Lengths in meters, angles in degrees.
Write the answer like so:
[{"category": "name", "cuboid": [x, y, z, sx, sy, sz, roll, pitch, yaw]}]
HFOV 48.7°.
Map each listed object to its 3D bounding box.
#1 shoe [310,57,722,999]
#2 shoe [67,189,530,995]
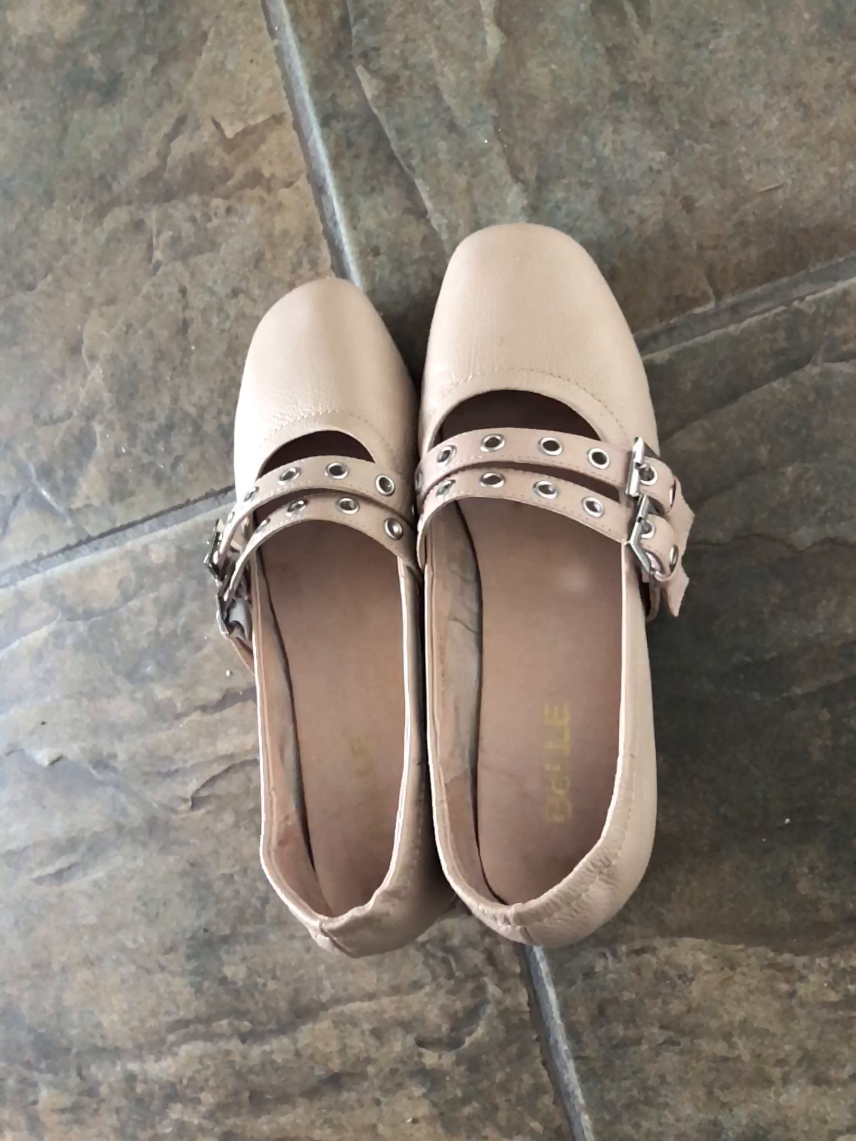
[{"category": "shoe", "cuboid": [0.033, -0.009, 0.306, 0.090, 0.090, 0.250, -6, 86, 20]}, {"category": "shoe", "cuboid": [-0.045, 0.010, 0.353, 0.100, 0.090, 0.250, -12, 84, 19]}]
